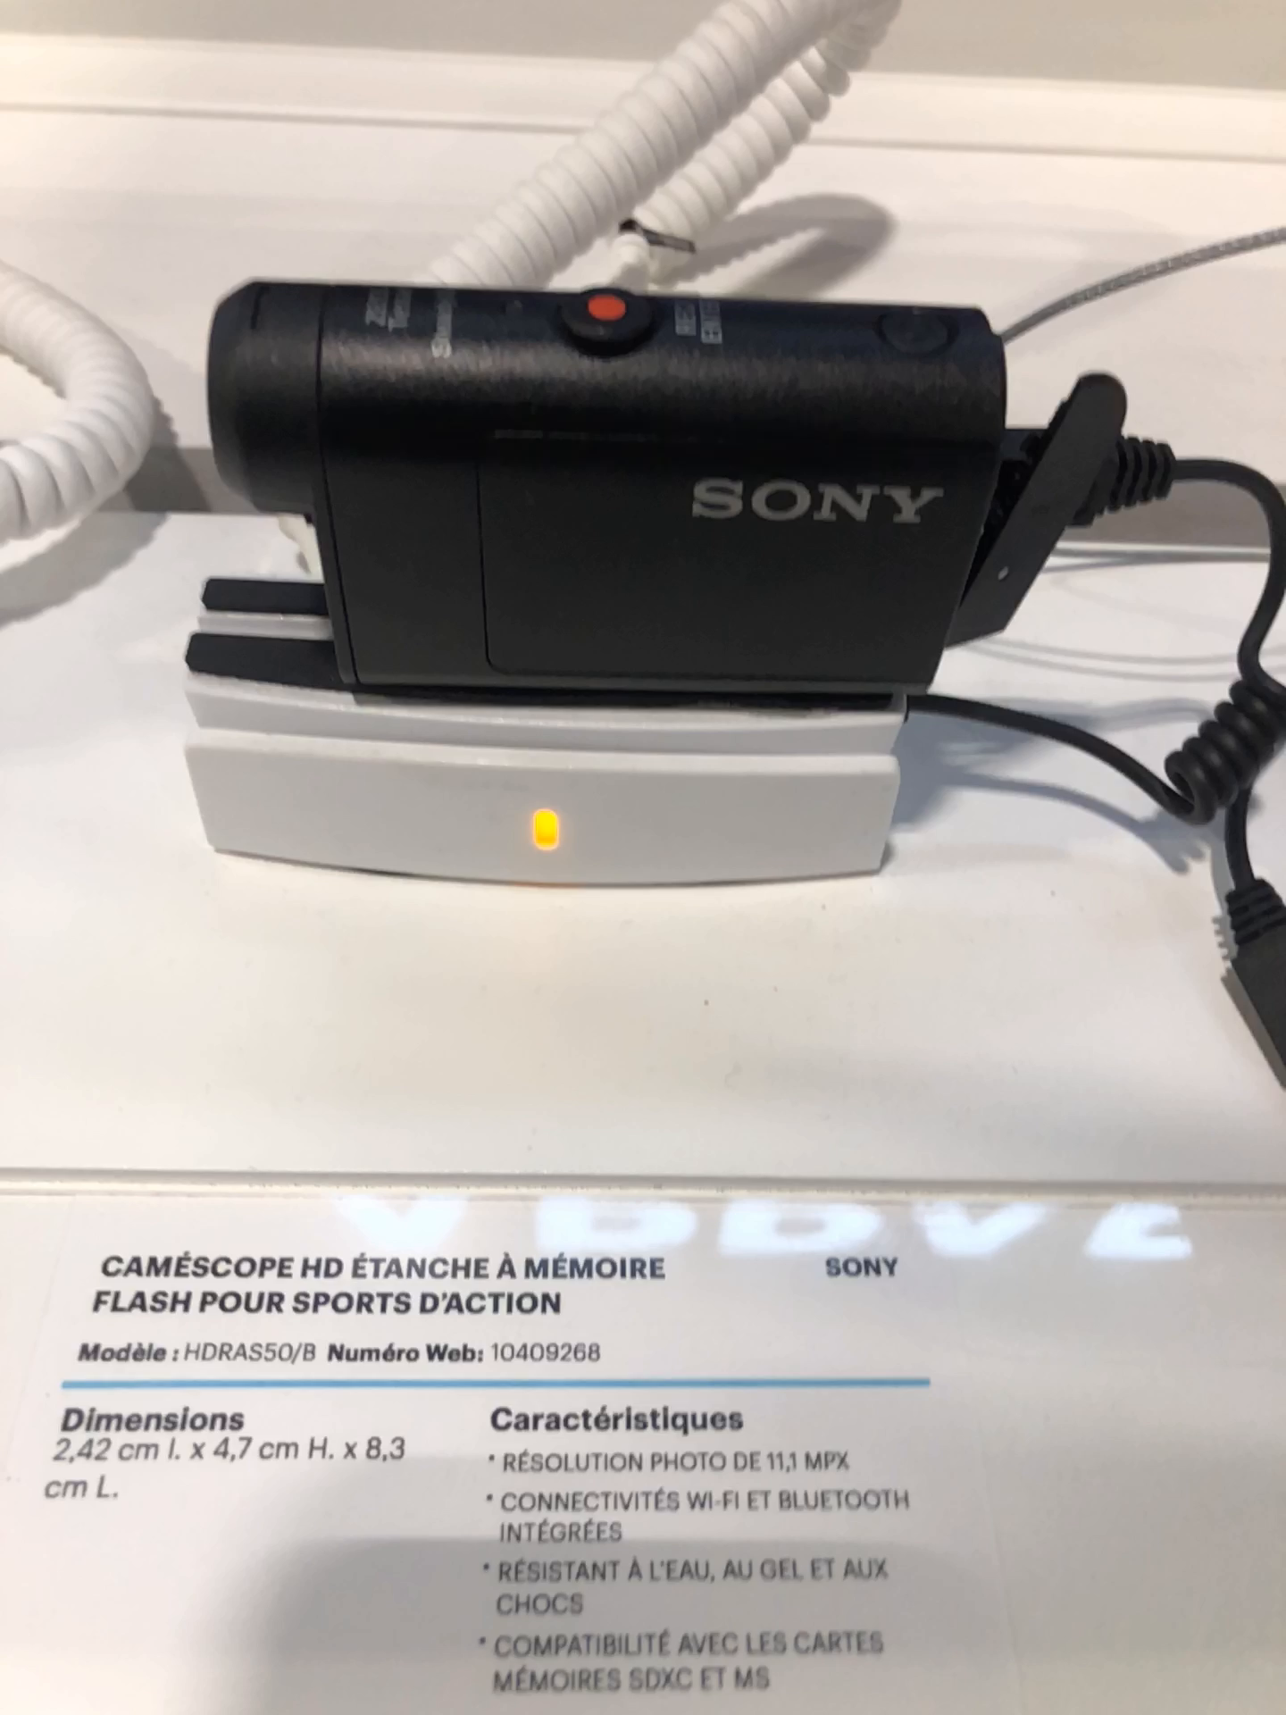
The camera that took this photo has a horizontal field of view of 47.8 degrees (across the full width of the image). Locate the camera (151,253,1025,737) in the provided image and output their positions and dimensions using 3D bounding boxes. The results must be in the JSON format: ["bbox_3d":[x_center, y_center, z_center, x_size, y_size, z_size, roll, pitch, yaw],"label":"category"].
[{"bbox_3d":[-0.006,-0.037,0.156,0.080,0.045,0.020,1,49,-2],"label":"camera"}]
